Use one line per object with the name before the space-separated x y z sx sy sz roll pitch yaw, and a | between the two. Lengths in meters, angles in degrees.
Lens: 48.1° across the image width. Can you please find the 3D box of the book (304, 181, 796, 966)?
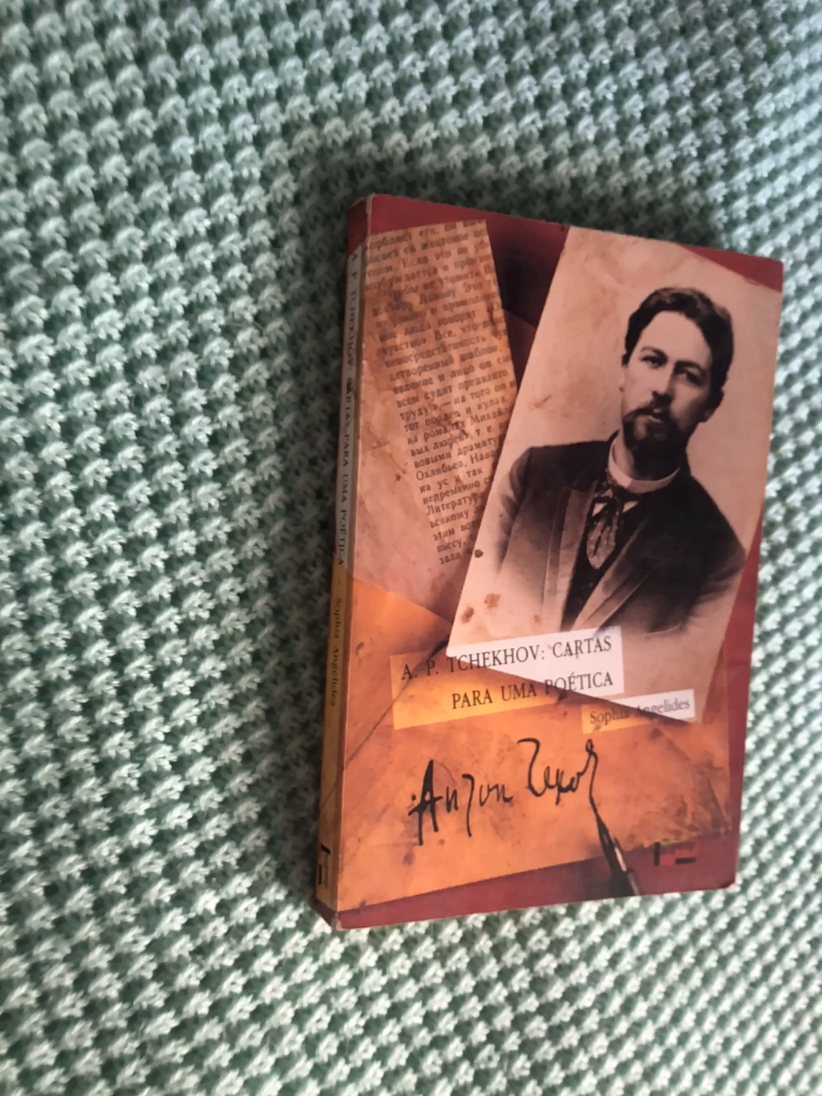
book | 0.047 0.009 0.289 0.151 0.030 0.210 1 94 -24
